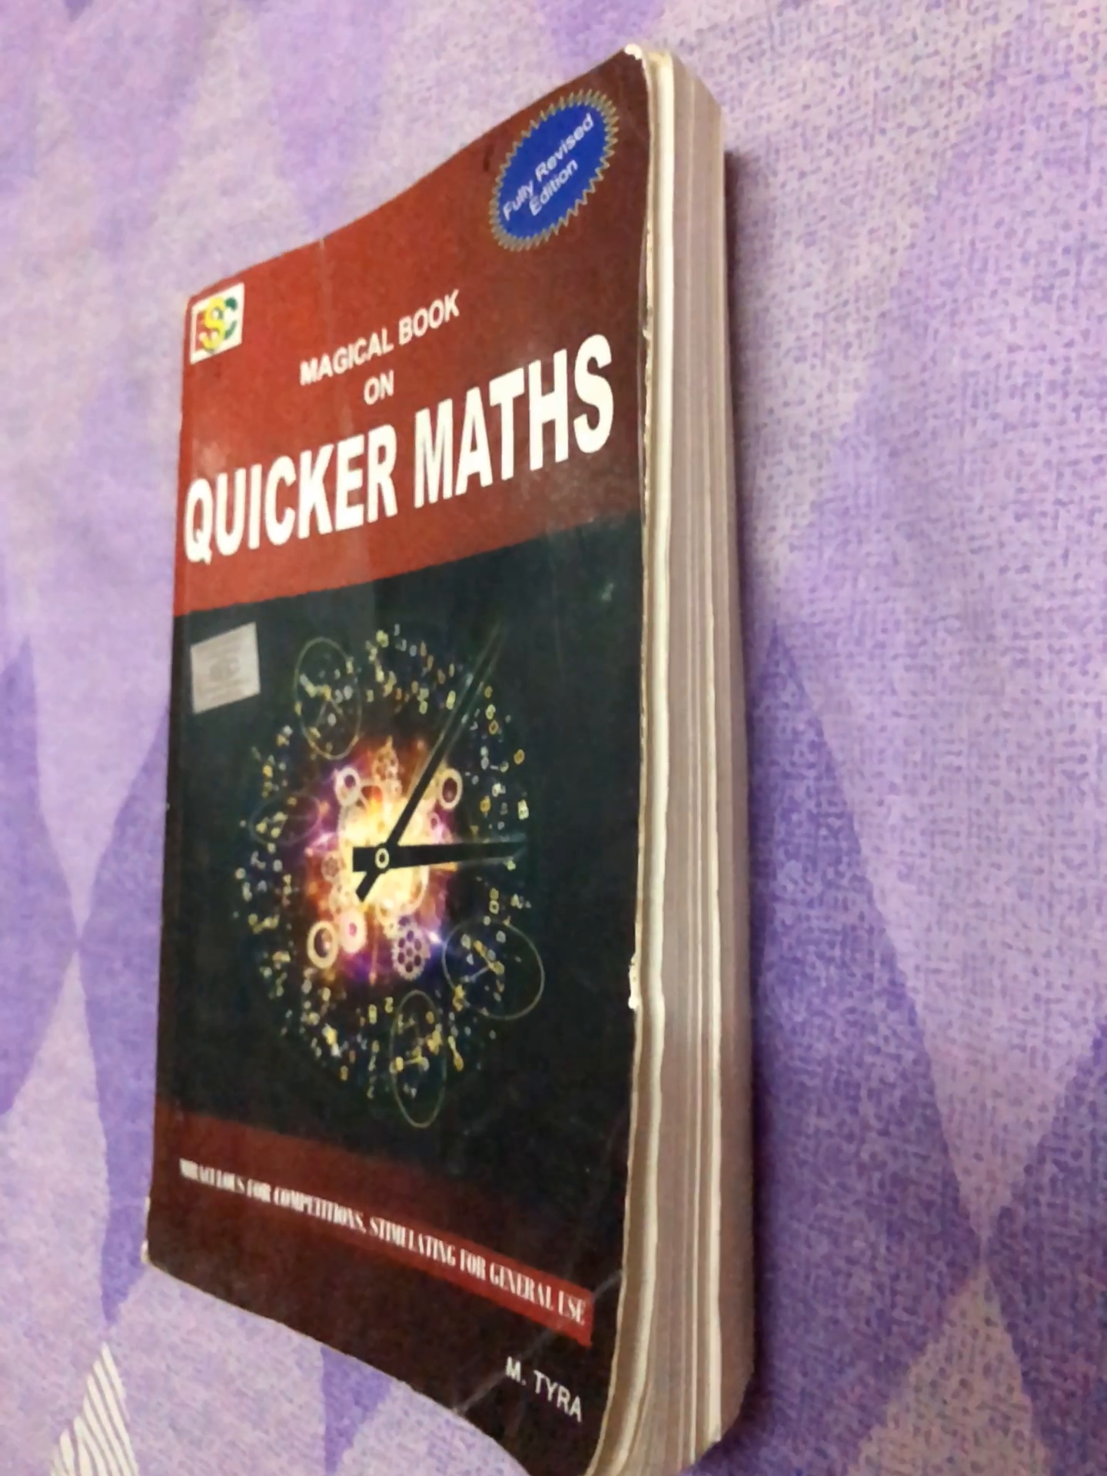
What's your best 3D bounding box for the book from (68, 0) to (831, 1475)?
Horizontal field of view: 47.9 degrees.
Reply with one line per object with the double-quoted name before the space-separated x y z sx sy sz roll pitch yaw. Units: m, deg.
"book" -0.027 0.004 0.237 0.151 0.050 0.220 -4 82 43
